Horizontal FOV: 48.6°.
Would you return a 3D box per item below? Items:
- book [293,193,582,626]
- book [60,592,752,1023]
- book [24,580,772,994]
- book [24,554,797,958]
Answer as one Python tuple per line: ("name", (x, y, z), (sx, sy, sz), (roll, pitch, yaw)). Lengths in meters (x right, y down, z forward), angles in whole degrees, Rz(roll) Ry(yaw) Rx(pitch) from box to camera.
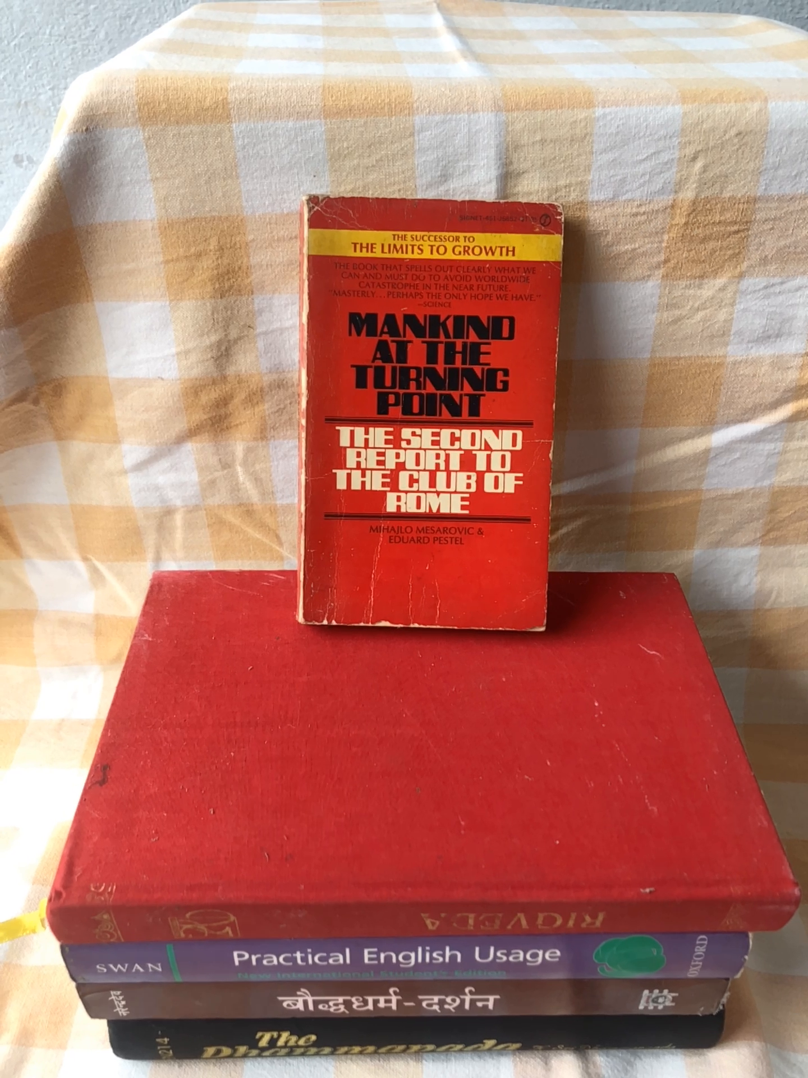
("book", (0.011, -0.052, 0.378), (0.110, 0.170, 0.040), (1, 13, -1))
("book", (0.001, 0.105, 0.397), (0.240, 0.040, 0.191), (-2, 38, 2))
("book", (-0.002, 0.100, 0.410), (0.270, 0.040, 0.191), (-2, 38, 2))
("book", (0.002, 0.086, 0.411), (0.280, 0.040, 0.191), (-2, 38, 2))
